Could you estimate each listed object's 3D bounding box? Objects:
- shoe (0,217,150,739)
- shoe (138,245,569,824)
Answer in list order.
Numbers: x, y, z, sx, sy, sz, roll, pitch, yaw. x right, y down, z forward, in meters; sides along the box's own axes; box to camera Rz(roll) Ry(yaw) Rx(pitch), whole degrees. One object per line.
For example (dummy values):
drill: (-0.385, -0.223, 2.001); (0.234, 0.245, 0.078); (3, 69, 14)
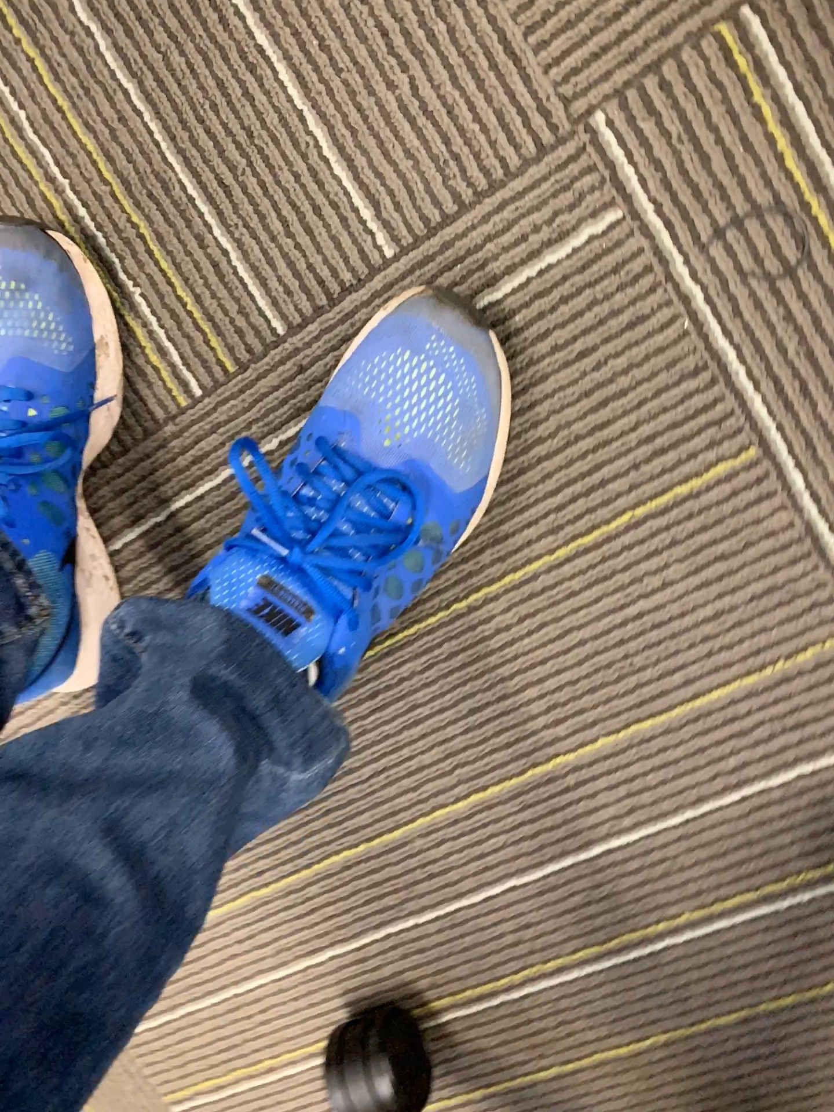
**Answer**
shoe: (-0.250, -0.046, 0.545); (0.125, 0.077, 0.298); (11, 108, 11)
shoe: (-0.043, -0.006, 0.501); (0.128, 0.077, 0.300); (28, 111, 4)
